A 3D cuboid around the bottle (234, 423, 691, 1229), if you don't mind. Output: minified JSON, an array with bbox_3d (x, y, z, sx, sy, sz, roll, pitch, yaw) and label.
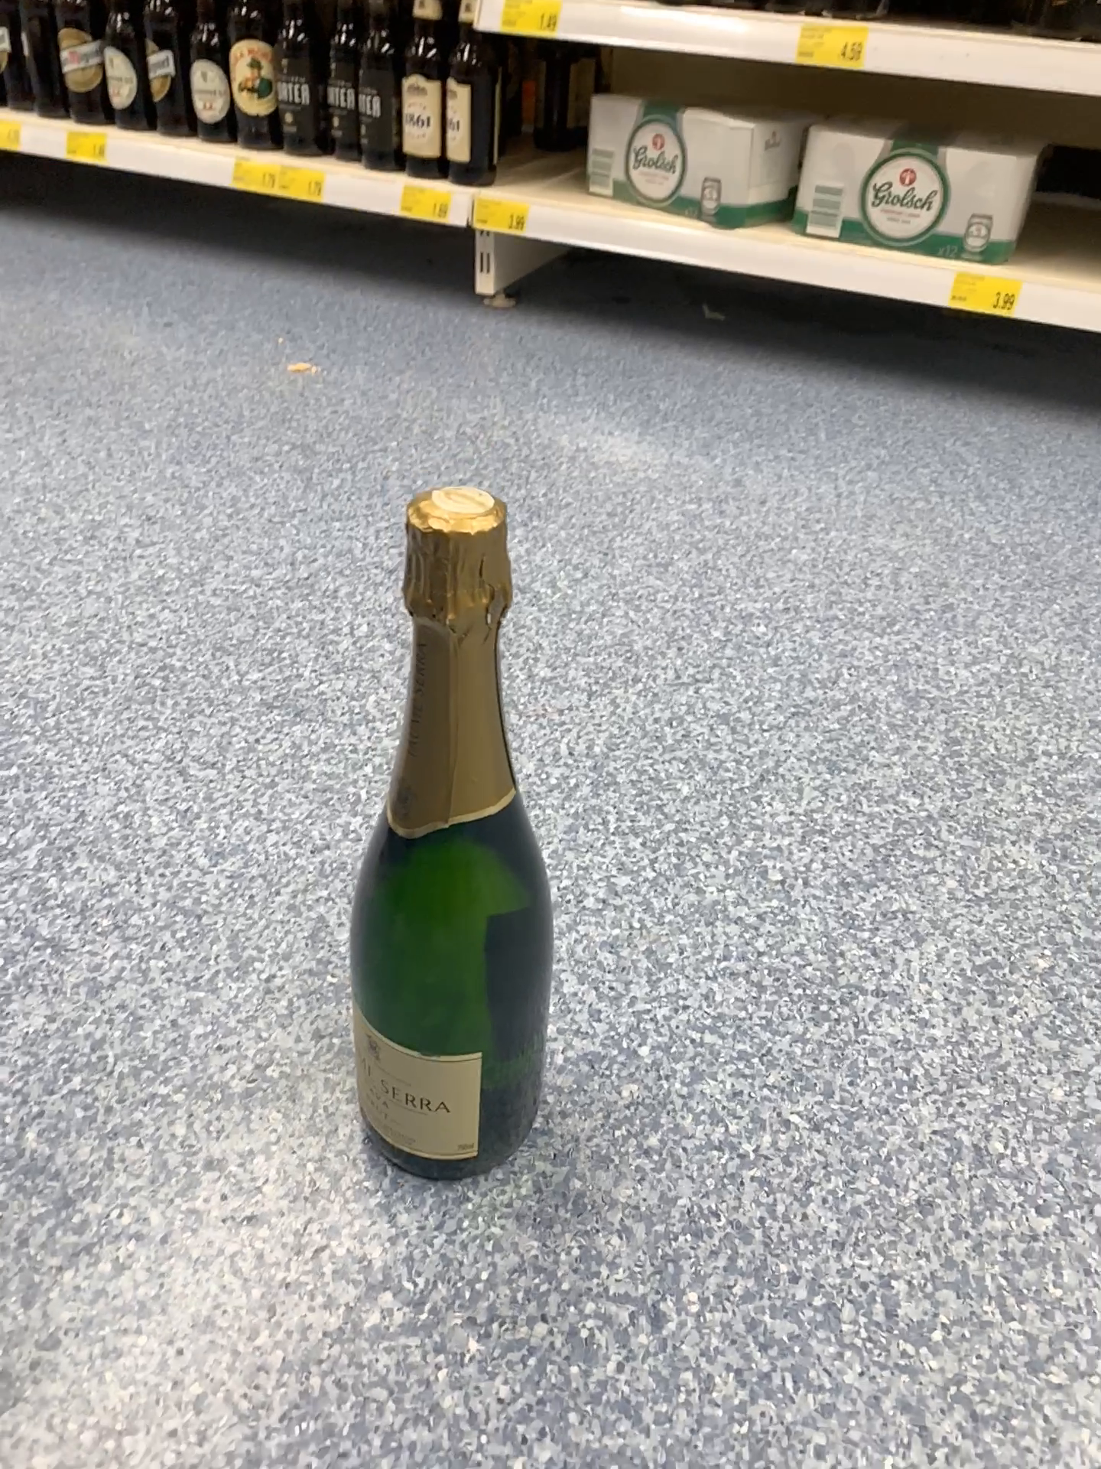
[{"bbox_3d":[-0.036,0.045,0.449,0.104,0.291,0.105,3,35,-2],"label":"bottle"}]
